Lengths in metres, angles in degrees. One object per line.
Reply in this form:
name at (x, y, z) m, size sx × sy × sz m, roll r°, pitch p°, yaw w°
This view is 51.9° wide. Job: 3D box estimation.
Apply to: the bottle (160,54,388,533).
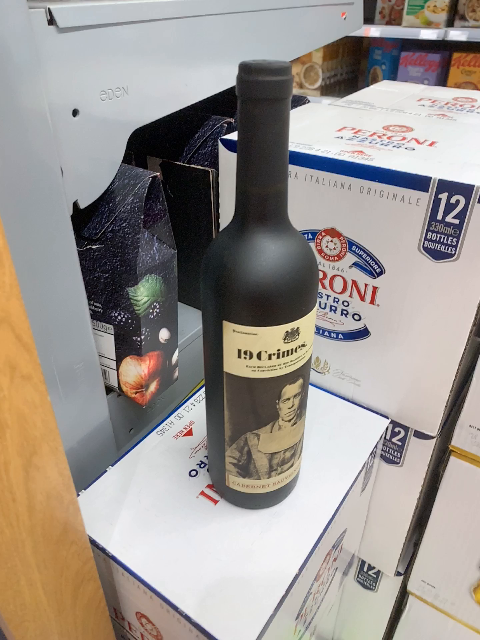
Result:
bottle at (0.015, 0.000, 0.312) m, size 0.078 × 0.288 × 0.075 m, roll 0°, pitch 33°, yaw 0°
